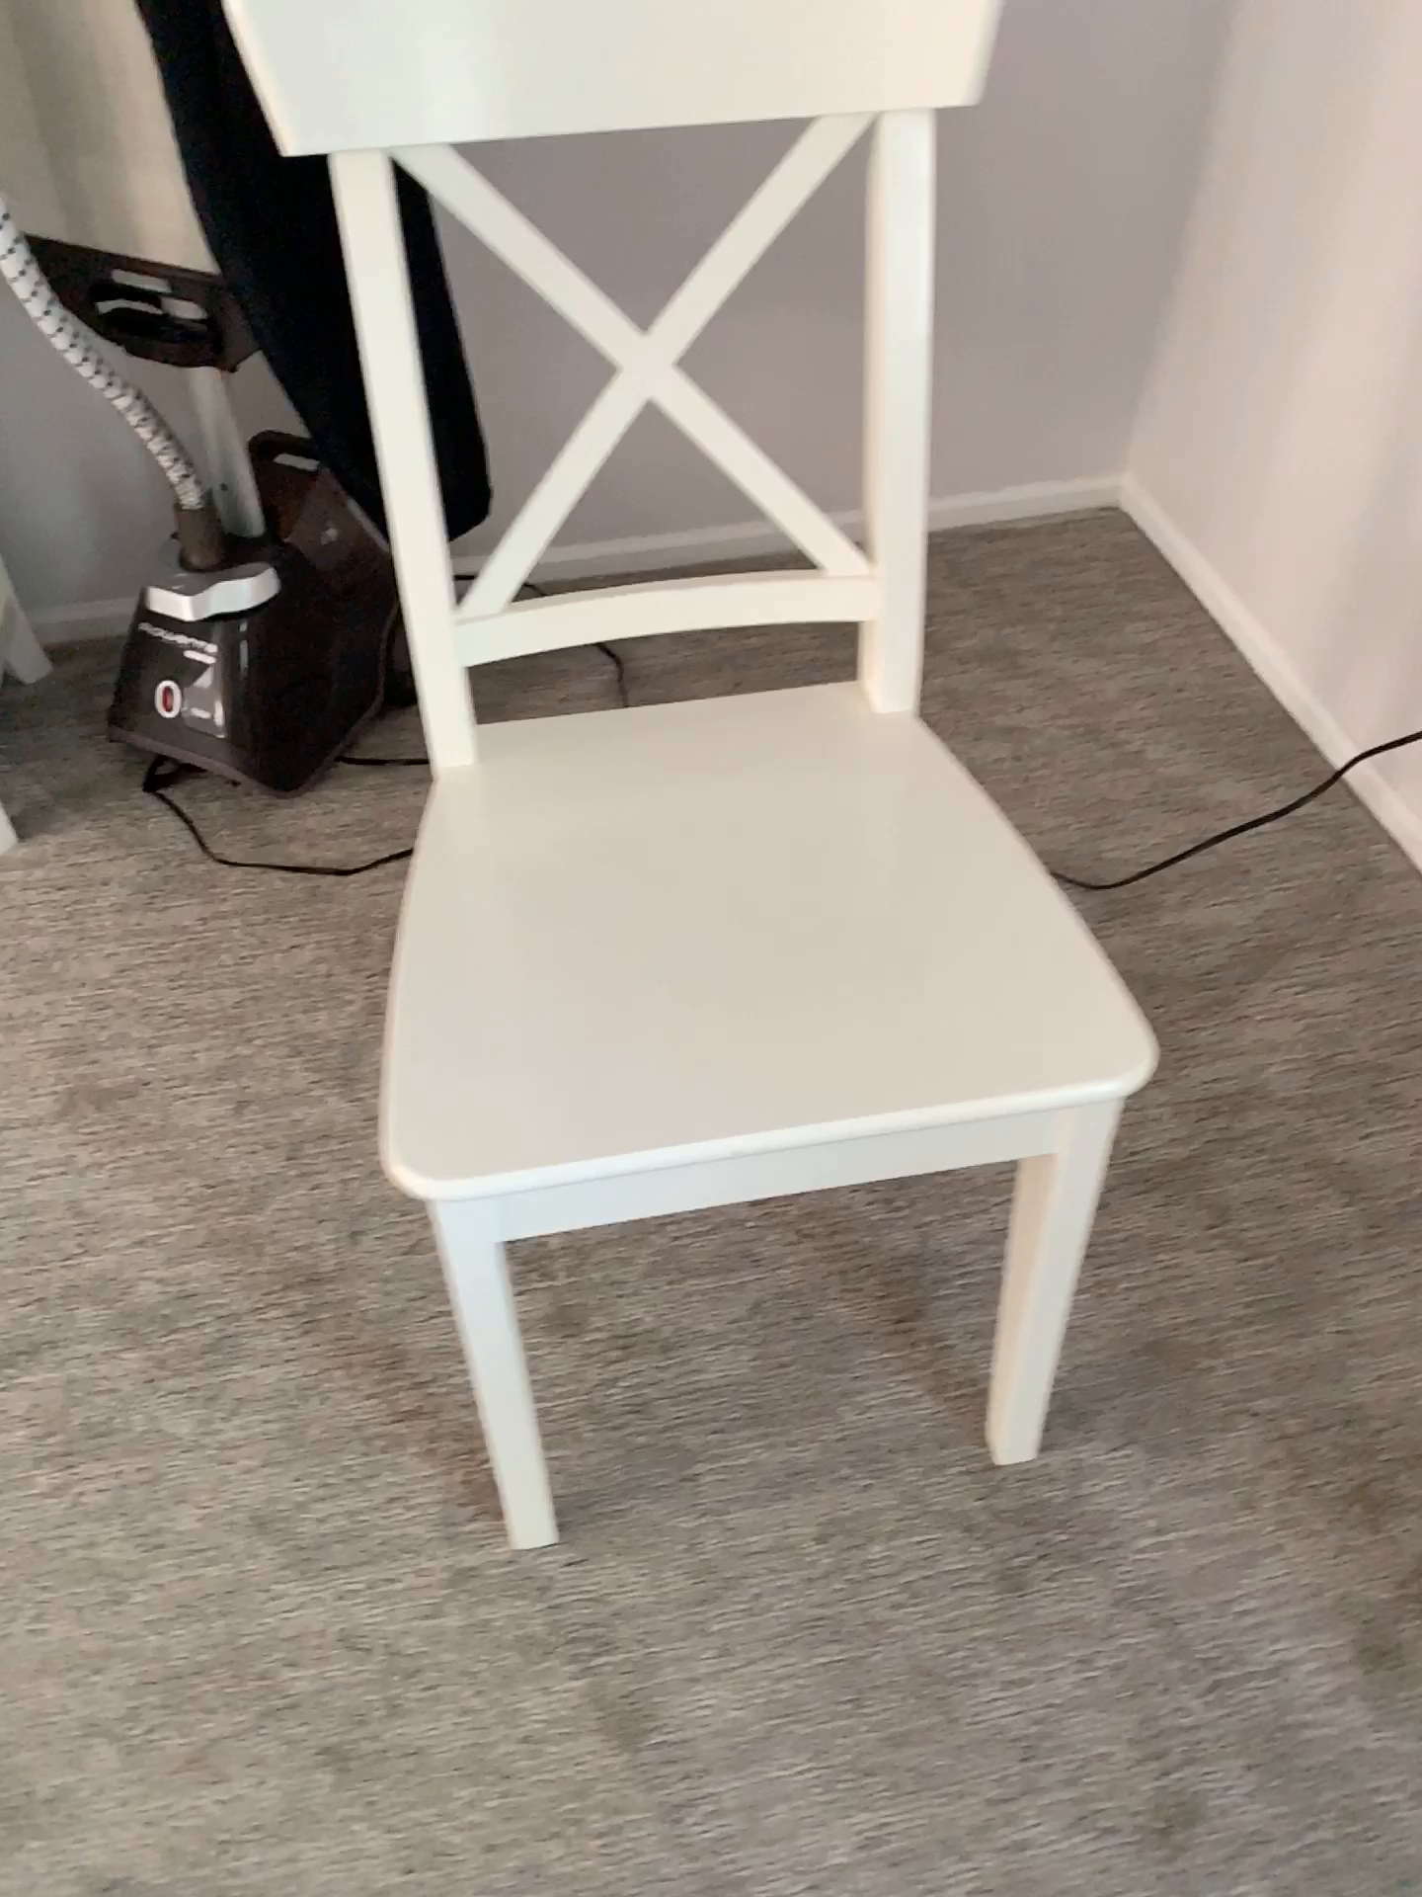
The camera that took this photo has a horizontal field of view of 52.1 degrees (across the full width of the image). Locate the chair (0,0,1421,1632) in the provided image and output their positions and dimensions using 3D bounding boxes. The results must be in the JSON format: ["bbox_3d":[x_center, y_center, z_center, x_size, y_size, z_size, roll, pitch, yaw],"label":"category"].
[{"bbox_3d":[-0.039,-0.097,0.855,0.610,0.766,0.573,-9,45,-7],"label":"chair"}]
